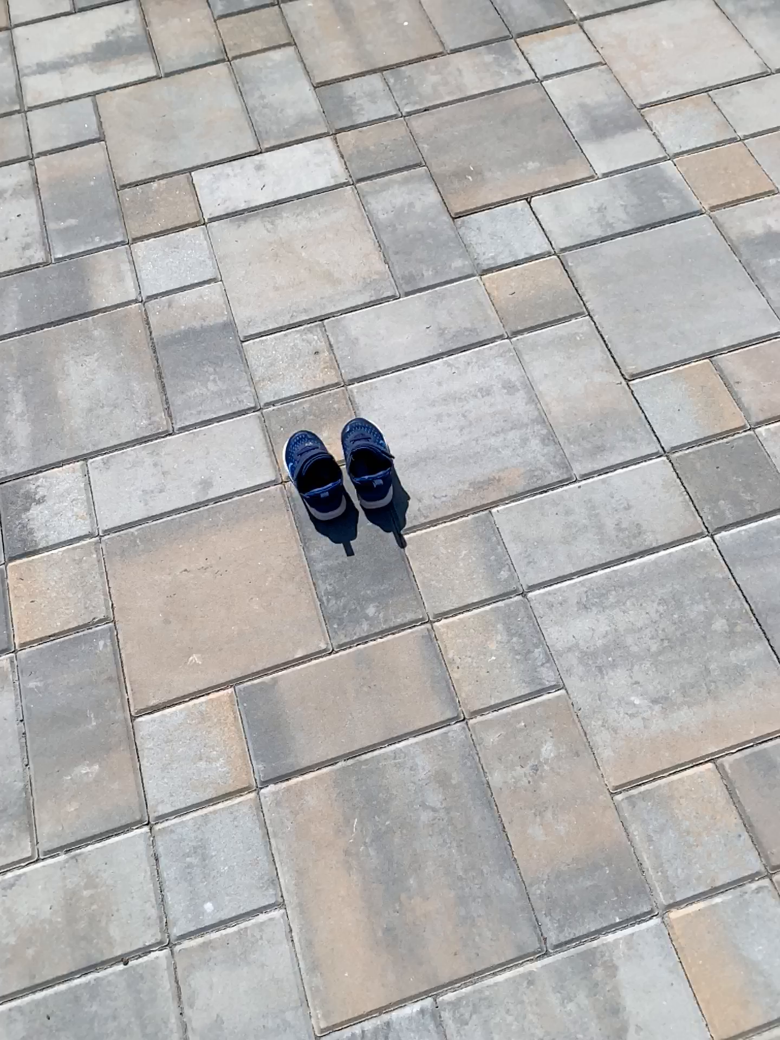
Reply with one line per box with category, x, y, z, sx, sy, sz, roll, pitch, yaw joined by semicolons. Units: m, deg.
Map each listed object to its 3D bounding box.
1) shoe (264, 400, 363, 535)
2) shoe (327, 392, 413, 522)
shoe;-0.119;-0.083;1.245;0.090;0.090;0.170;-22;66;-8
shoe;-0.032;-0.101;1.276;0.090;0.090;0.170;-16;65;-5
